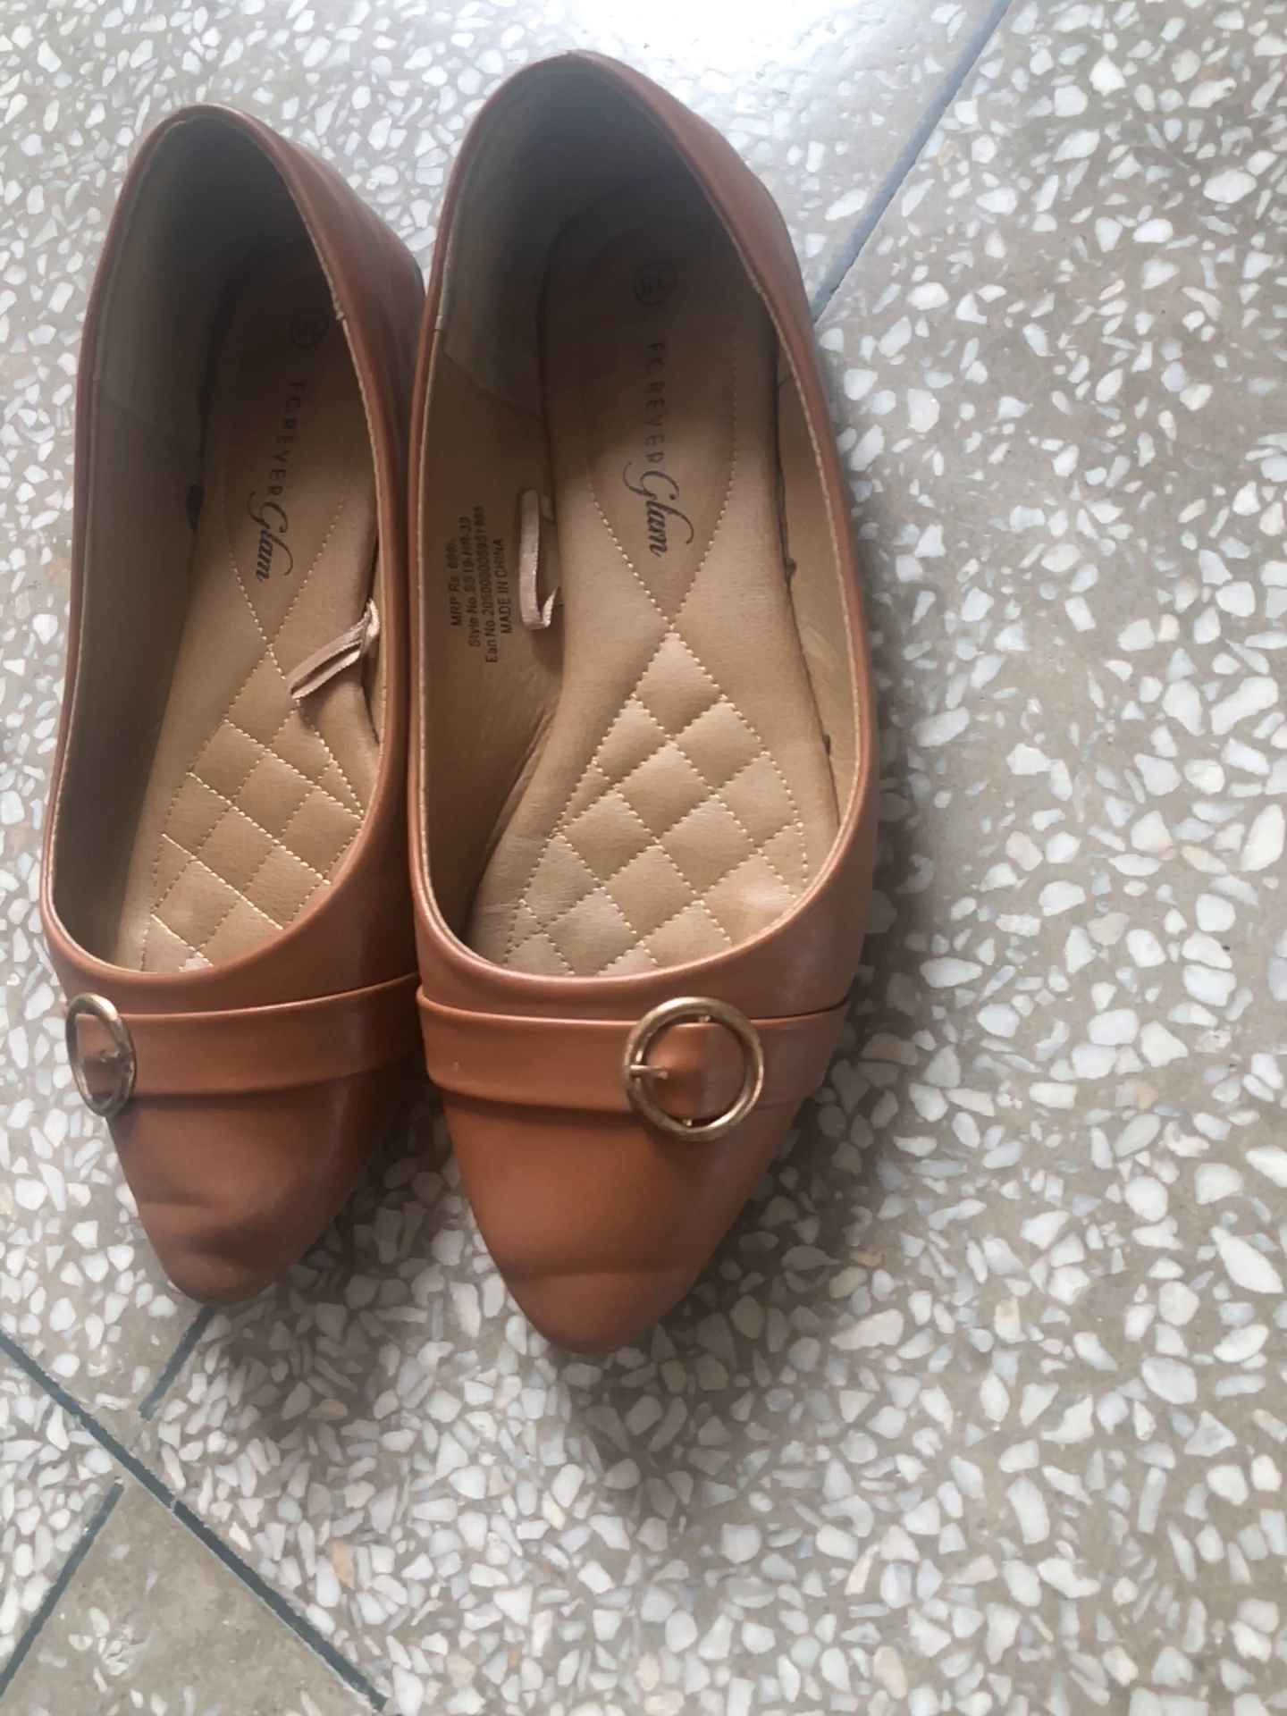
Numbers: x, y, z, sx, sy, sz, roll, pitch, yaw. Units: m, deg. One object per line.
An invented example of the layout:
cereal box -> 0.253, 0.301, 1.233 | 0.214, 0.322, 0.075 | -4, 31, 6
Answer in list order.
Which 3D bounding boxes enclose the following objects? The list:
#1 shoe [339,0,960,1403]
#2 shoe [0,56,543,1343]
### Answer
shoe -> 0.002, -0.031, 0.281 | 0.090, 0.050, 0.250 | -4, 91, 25
shoe -> -0.084, -0.028, 0.319 | 0.090, 0.050, 0.250 | -4, 91, 25
